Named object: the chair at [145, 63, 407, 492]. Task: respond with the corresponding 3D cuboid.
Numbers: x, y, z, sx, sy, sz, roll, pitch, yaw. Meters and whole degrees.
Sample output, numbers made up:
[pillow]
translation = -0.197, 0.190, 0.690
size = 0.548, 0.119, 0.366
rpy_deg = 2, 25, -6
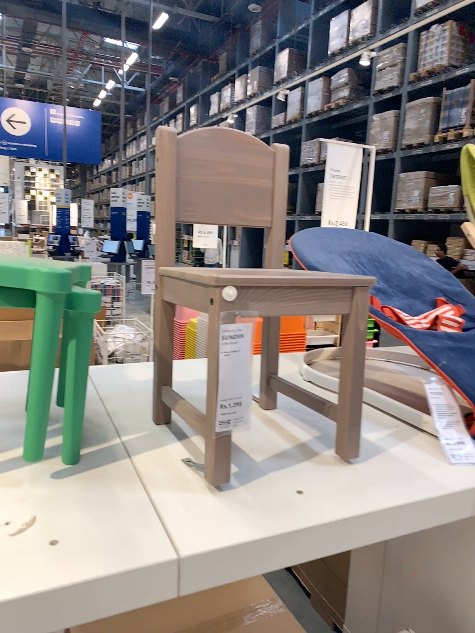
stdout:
[chair]
translation = 0.029, -0.062, 0.782
size = 0.270, 0.519, 0.321
rpy_deg = -2, 11, -26
